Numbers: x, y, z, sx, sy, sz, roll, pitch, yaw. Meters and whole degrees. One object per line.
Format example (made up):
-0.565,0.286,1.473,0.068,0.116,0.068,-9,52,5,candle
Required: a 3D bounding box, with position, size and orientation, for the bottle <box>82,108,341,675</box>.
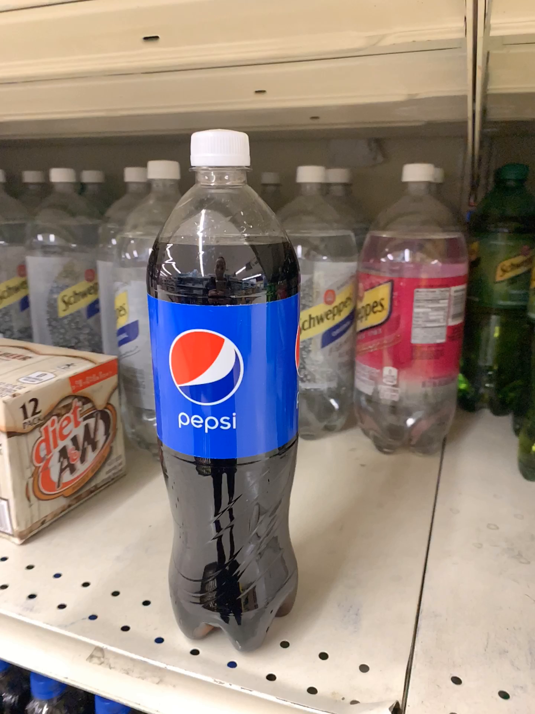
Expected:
-0.024,0.018,0.314,0.101,0.279,0.090,6,16,17,bottle
